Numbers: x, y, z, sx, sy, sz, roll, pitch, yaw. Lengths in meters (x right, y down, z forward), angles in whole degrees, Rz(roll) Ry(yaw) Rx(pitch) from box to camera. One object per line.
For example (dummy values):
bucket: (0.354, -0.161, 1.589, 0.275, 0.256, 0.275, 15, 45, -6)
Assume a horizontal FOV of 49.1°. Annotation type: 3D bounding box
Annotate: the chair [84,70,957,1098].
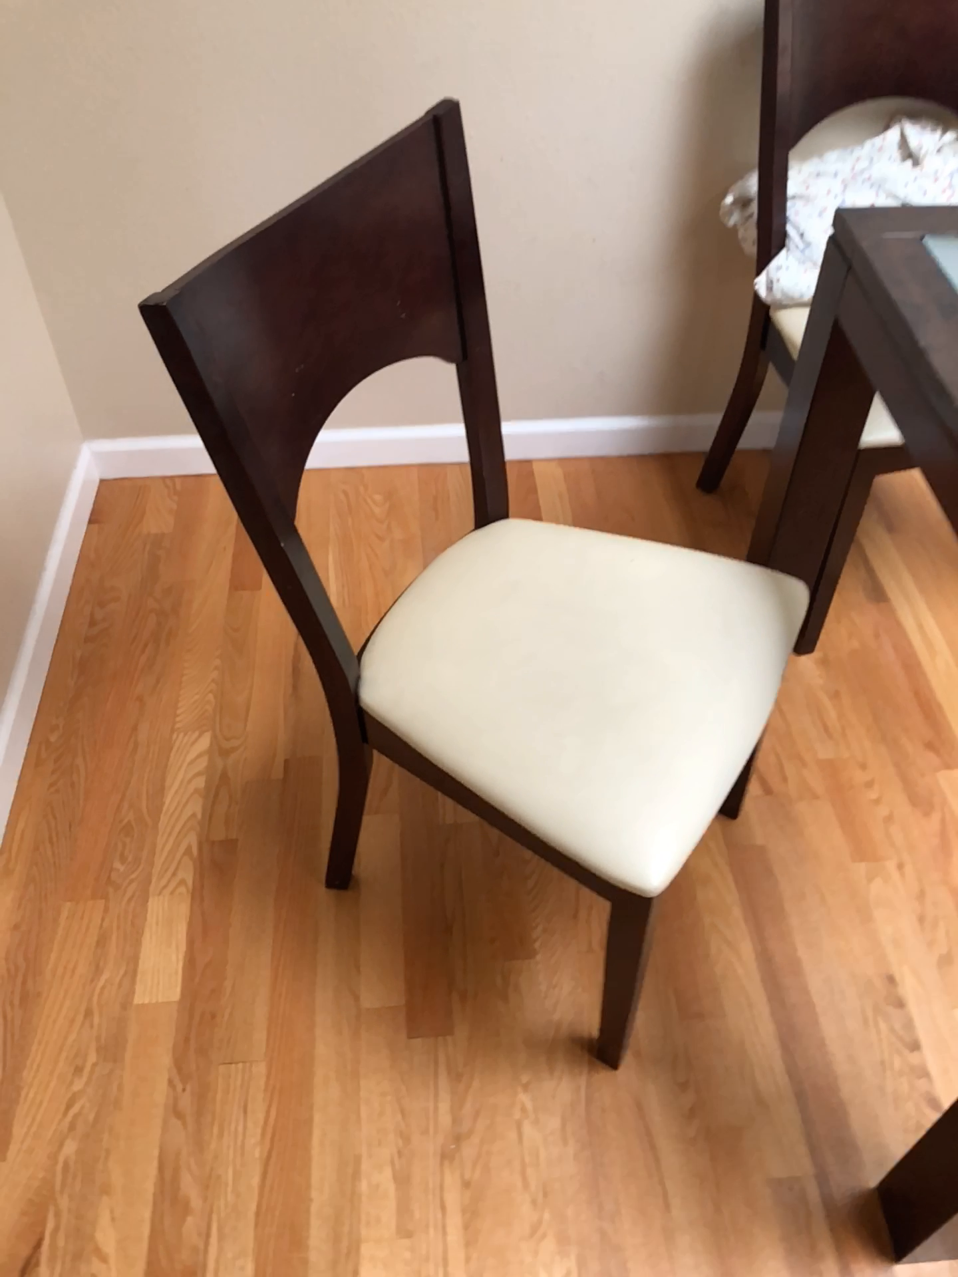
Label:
chair: (0.083, -0.040, 1.220, 0.571, 0.895, 0.593, 21, 49, 19)
